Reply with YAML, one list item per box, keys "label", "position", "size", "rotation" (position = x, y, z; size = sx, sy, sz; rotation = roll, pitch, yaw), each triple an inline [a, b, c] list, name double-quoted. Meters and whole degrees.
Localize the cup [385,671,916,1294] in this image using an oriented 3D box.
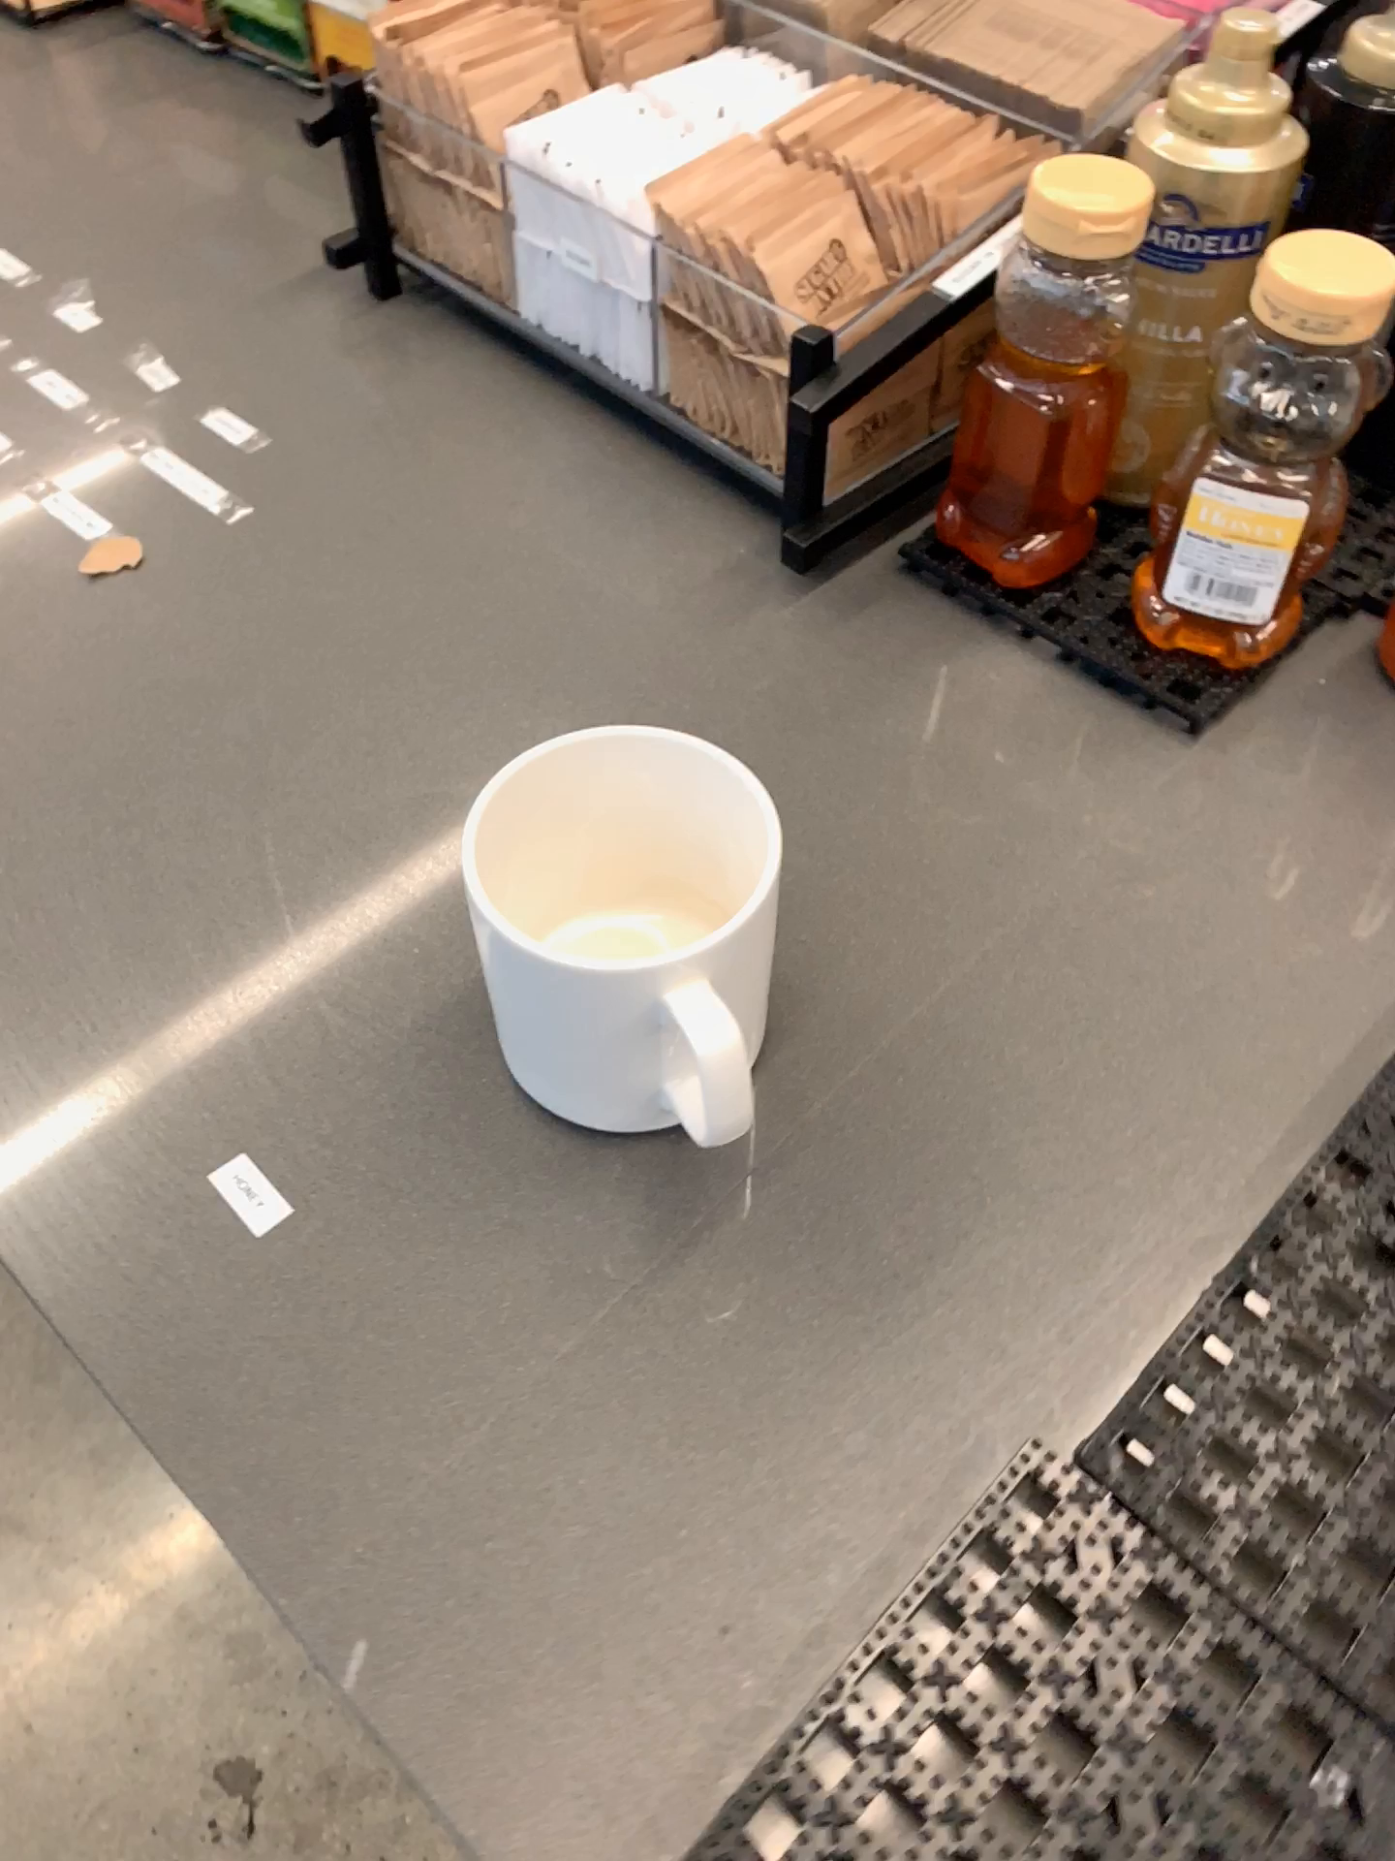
- label: "cup"
  position: [-0.016, 0.012, 0.401]
  size: [0.090, 0.090, 0.121]
  rotation: [-22, 56, -17]
